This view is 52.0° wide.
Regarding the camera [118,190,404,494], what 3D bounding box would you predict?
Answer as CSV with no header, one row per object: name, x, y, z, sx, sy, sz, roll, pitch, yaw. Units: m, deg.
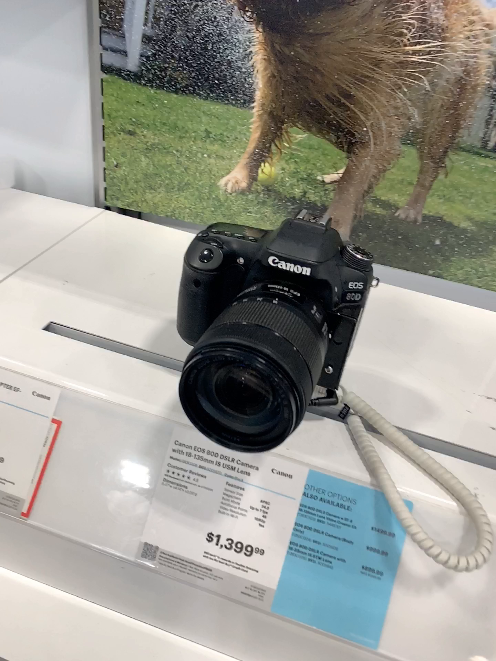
camera,0.017,-0.006,0.342,0.140,0.099,0.161,15,36,10
